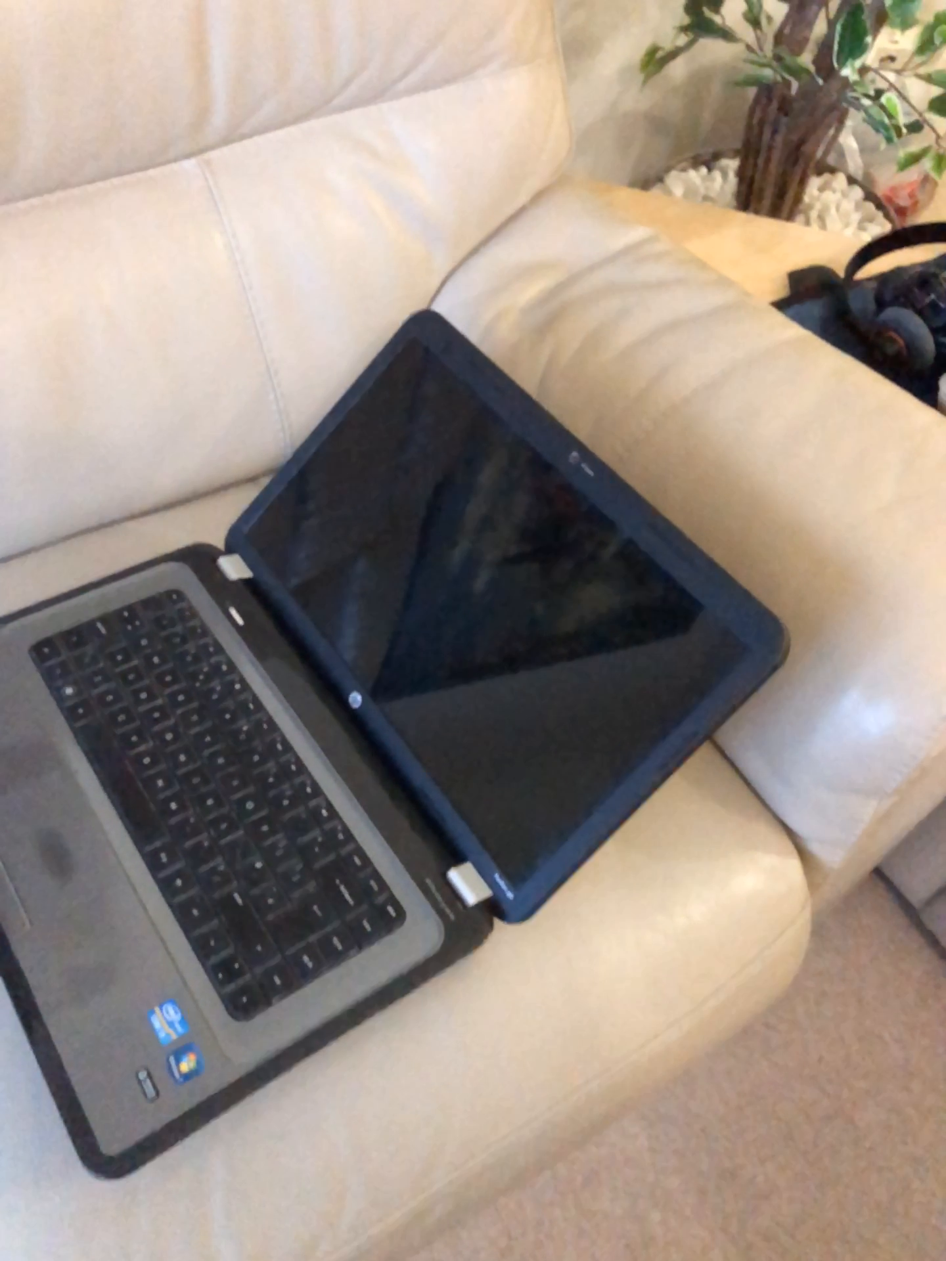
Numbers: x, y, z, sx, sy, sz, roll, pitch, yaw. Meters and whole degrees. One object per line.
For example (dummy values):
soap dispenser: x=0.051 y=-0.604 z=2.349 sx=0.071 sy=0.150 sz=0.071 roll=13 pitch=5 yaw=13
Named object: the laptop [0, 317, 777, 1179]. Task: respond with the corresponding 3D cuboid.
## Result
laptop: x=-0.106 y=0.022 z=0.630 sx=0.425 sy=0.115 sz=0.359 roll=-28 pitch=61 yaw=-23
